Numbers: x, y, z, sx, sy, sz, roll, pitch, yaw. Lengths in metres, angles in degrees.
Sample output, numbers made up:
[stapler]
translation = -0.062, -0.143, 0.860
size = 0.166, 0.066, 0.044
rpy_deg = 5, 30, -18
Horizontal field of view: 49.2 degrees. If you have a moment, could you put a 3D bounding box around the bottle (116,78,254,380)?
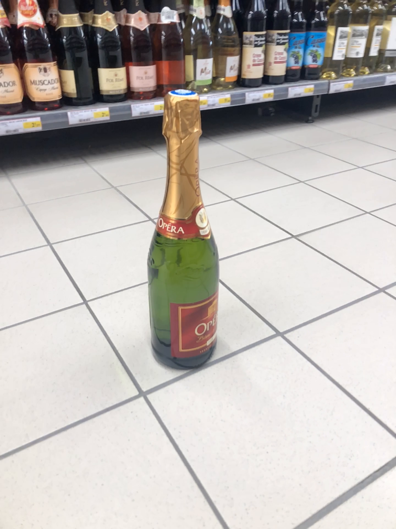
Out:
[bottle]
translation = -0.010, -0.031, 0.467
size = 0.090, 0.298, 0.091
rpy_deg = 0, 30, 0
